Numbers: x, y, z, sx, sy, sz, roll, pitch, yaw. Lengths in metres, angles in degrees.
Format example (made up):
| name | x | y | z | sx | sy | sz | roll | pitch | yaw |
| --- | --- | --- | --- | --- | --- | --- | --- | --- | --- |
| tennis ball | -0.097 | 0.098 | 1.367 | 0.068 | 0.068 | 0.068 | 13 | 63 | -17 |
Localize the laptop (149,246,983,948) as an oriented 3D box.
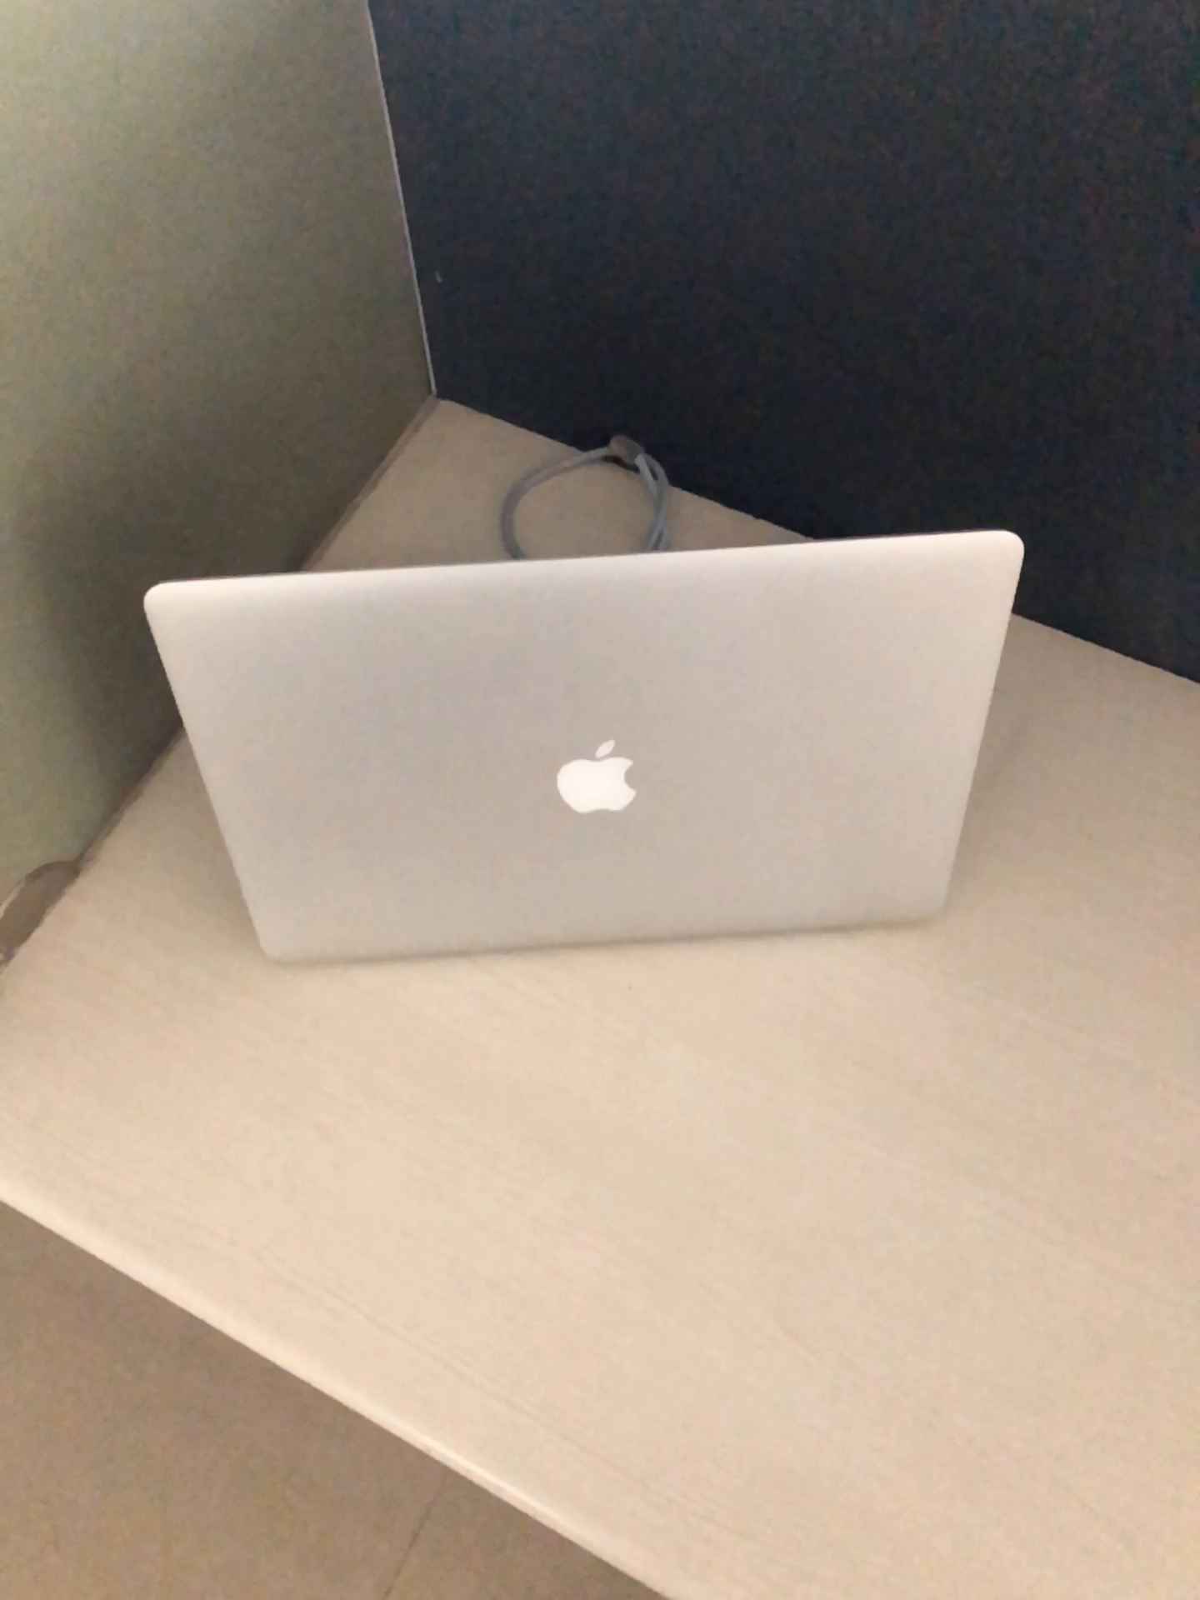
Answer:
| name | x | y | z | sx | sy | sz | roll | pitch | yaw |
| --- | --- | --- | --- | --- | --- | --- | --- | --- | --- |
| laptop | -0.017 | -0.093 | 0.672 | 0.321 | 0.233 | 0.244 | -4 | 60 | 0 |
